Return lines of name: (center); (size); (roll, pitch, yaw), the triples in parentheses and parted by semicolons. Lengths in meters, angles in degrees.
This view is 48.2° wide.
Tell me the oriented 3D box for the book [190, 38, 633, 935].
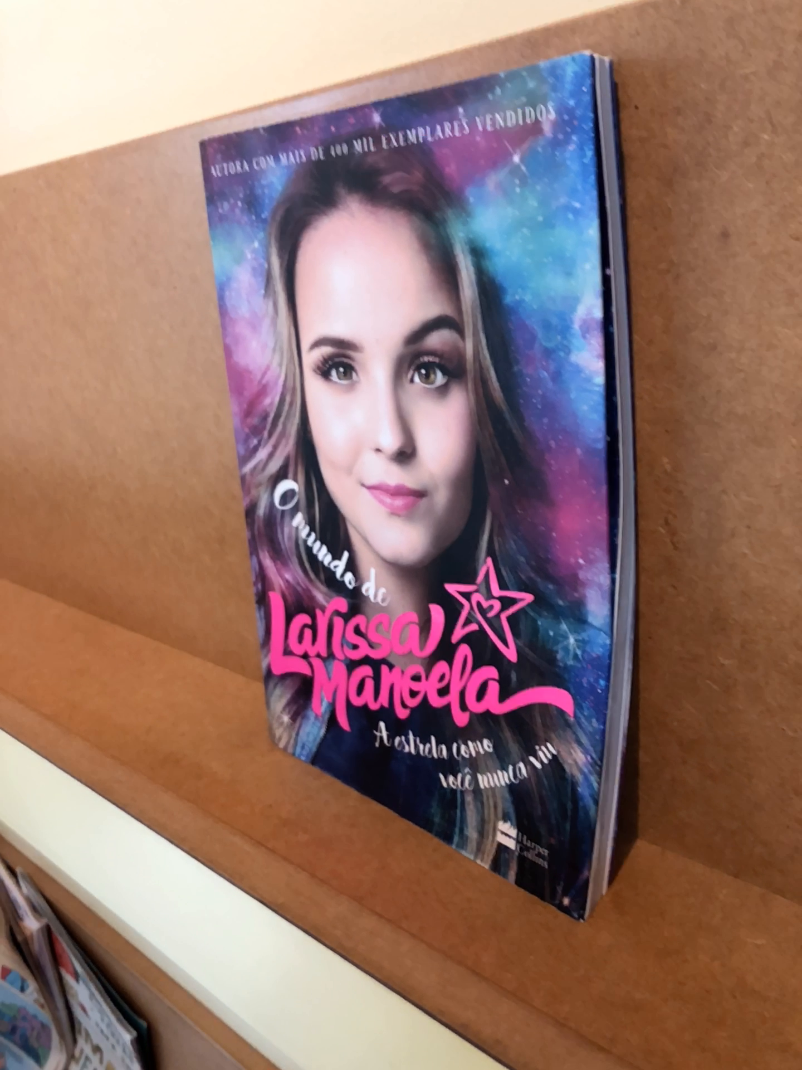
book: (-0.001, -0.011, 0.274); (0.020, 0.221, 0.150); (-19, 22, -40)
